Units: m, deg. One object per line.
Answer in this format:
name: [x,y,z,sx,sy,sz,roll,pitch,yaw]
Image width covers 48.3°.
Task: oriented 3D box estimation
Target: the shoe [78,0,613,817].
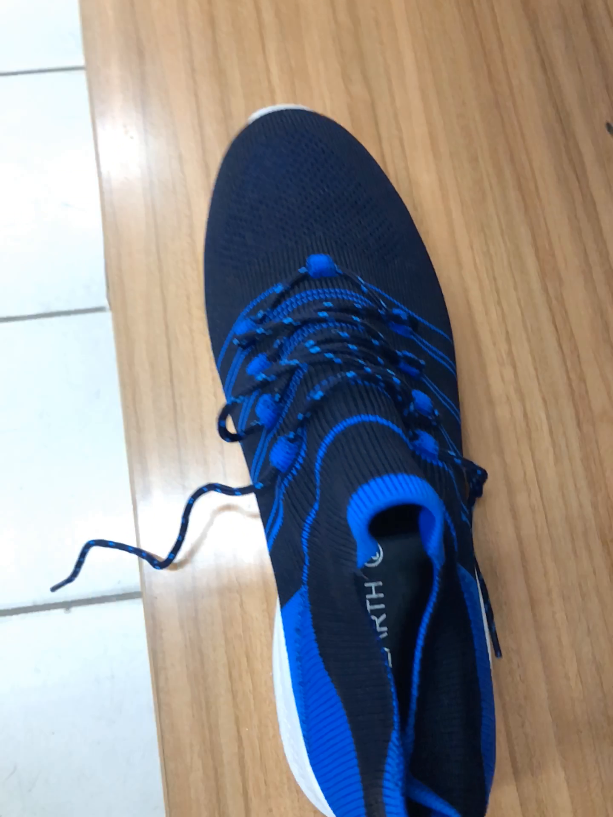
shoe: [0.016,0.018,0.213,0.110,0.110,0.260,-10,78,-5]
